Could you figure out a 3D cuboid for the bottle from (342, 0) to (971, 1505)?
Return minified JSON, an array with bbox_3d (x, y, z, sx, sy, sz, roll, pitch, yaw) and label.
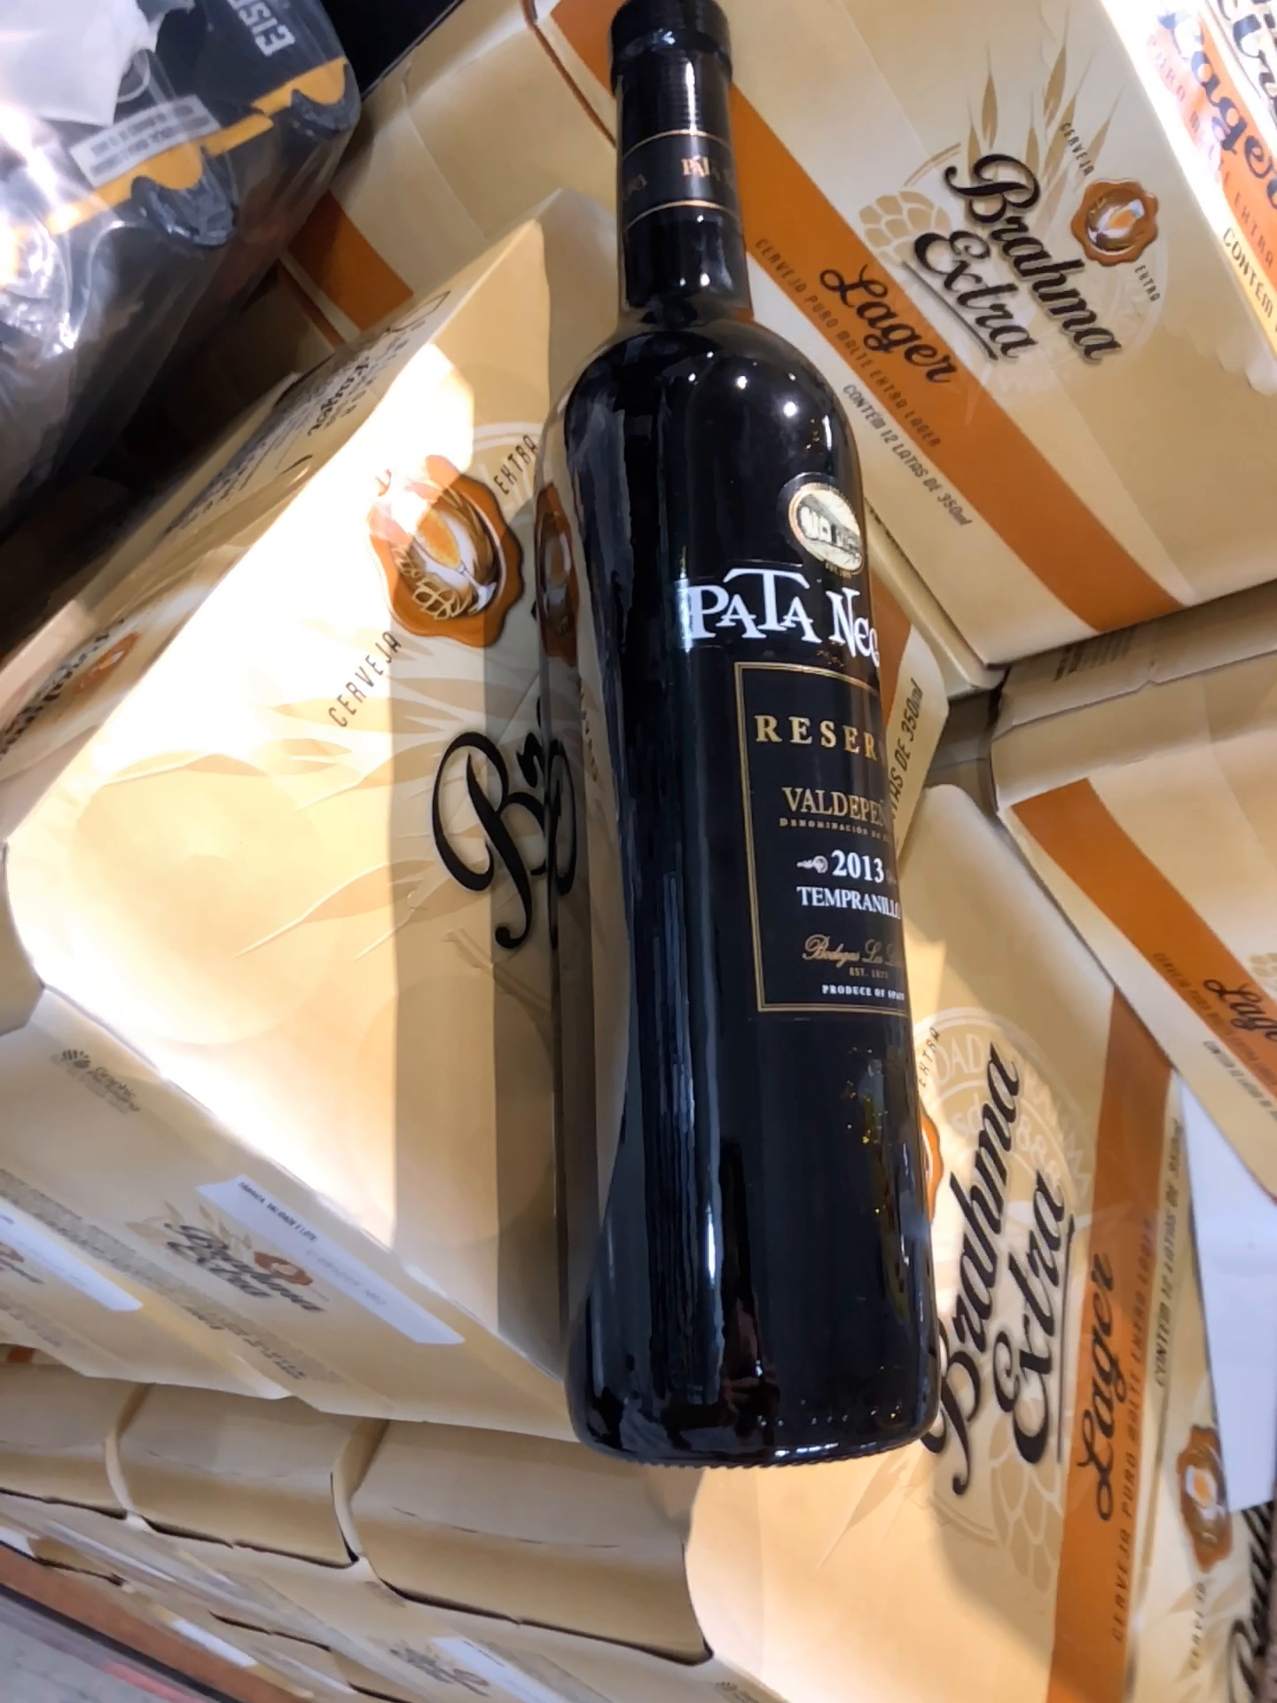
[{"bbox_3d":[-0.003,-0.080,0.298,0.081,0.079,0.380,11,72,-44],"label":"bottle"}]
